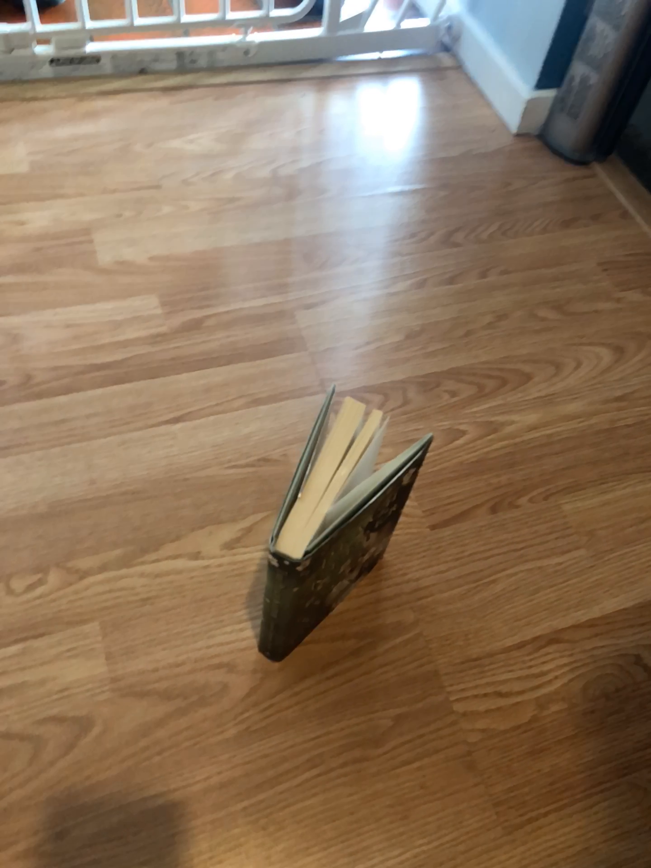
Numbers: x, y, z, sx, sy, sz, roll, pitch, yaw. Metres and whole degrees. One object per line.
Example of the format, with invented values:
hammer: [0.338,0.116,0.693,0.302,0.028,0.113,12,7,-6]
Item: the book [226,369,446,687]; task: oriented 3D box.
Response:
book: [0.000,0.084,0.565,0.080,0.220,0.150,29,56,11]
